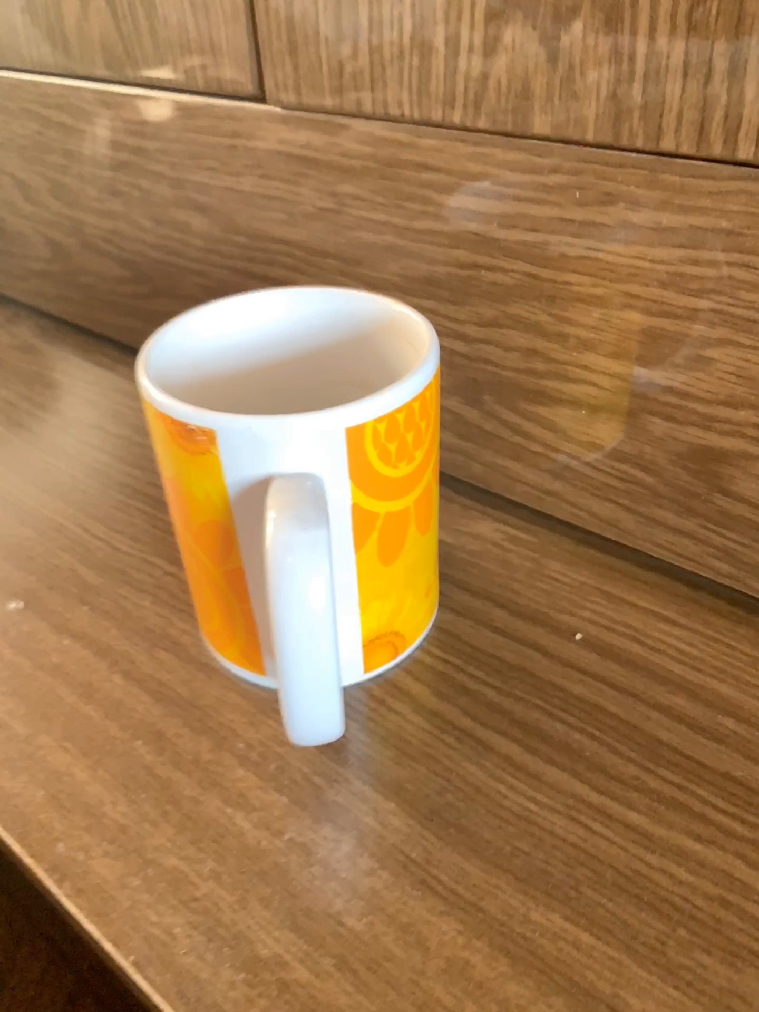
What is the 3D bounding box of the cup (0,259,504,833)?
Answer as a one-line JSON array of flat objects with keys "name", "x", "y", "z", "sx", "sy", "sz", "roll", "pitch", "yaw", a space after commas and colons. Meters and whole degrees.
[{"name": "cup", "x": -0.023, "y": 0.004, "z": 0.220, "sx": 0.090, "sy": 0.097, "sz": 0.124, "roll": -3, "pitch": 37, "yaw": 0}]
